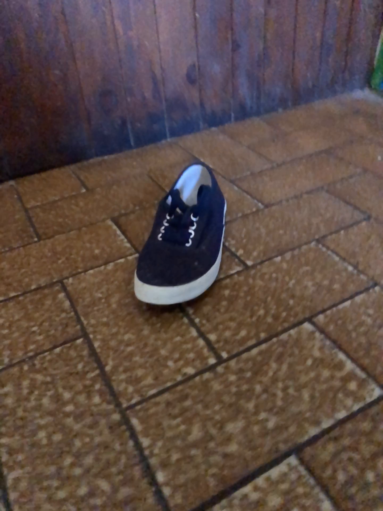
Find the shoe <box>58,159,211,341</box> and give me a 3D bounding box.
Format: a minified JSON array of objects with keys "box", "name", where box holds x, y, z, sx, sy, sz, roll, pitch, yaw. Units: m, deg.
[{"box":[-0.044,-0.024,0.474,0.100,0.070,0.242,3,37,10],"name":"shoe"}]
